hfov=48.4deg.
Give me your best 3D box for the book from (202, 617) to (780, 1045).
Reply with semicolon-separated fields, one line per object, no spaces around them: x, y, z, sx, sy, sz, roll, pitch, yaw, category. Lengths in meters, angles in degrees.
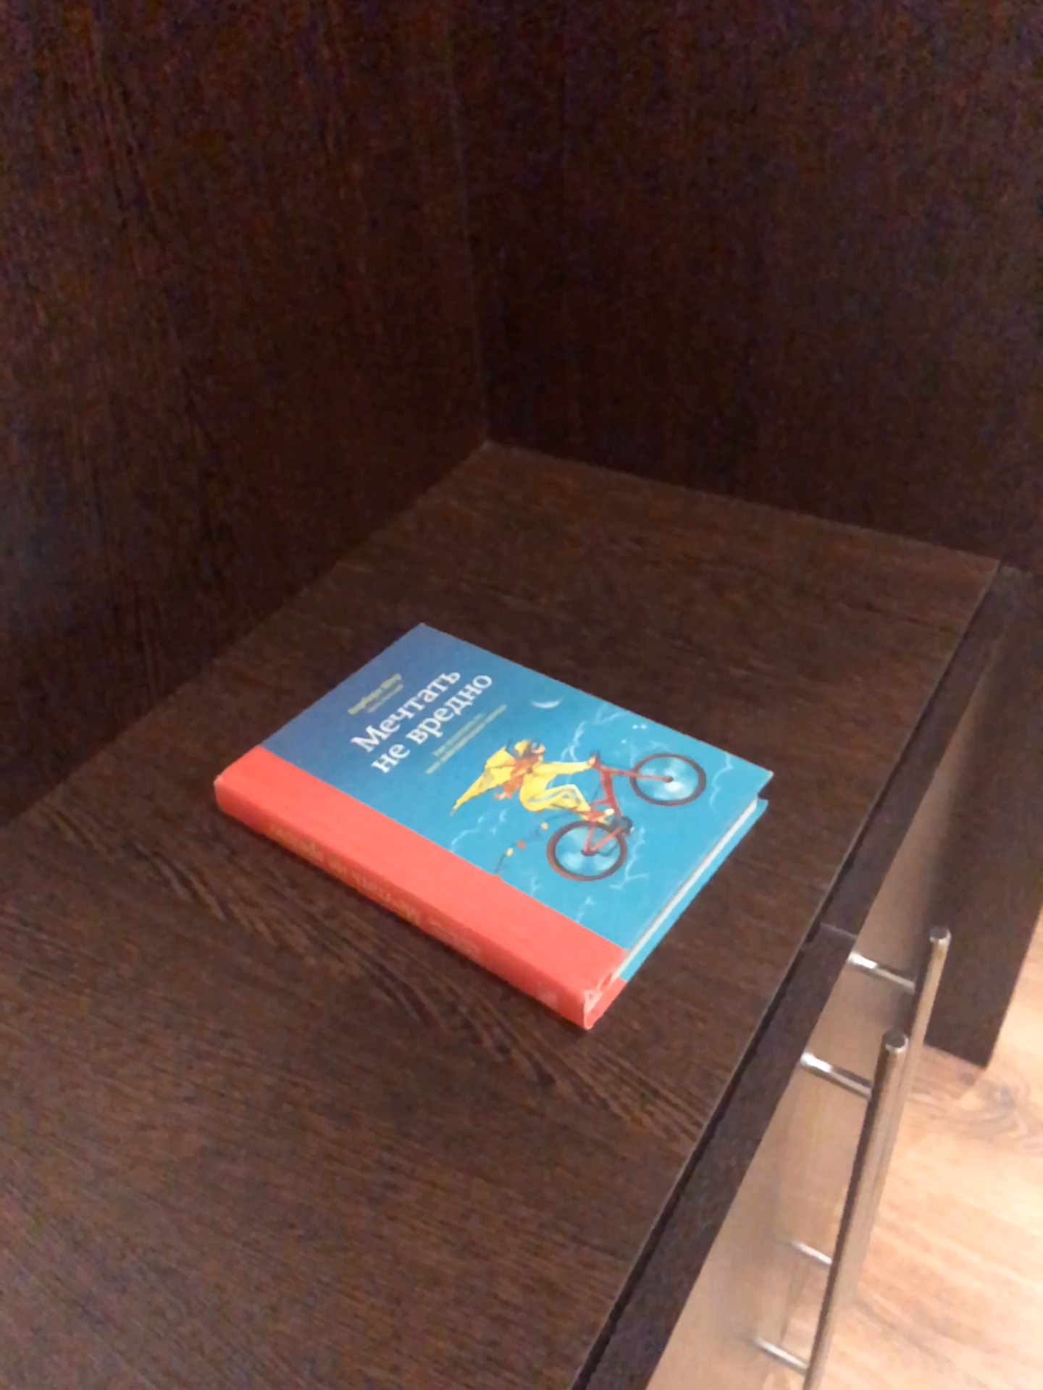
-0.015;0.045;0.519;0.211;0.025;0.146;24;47;29;book
